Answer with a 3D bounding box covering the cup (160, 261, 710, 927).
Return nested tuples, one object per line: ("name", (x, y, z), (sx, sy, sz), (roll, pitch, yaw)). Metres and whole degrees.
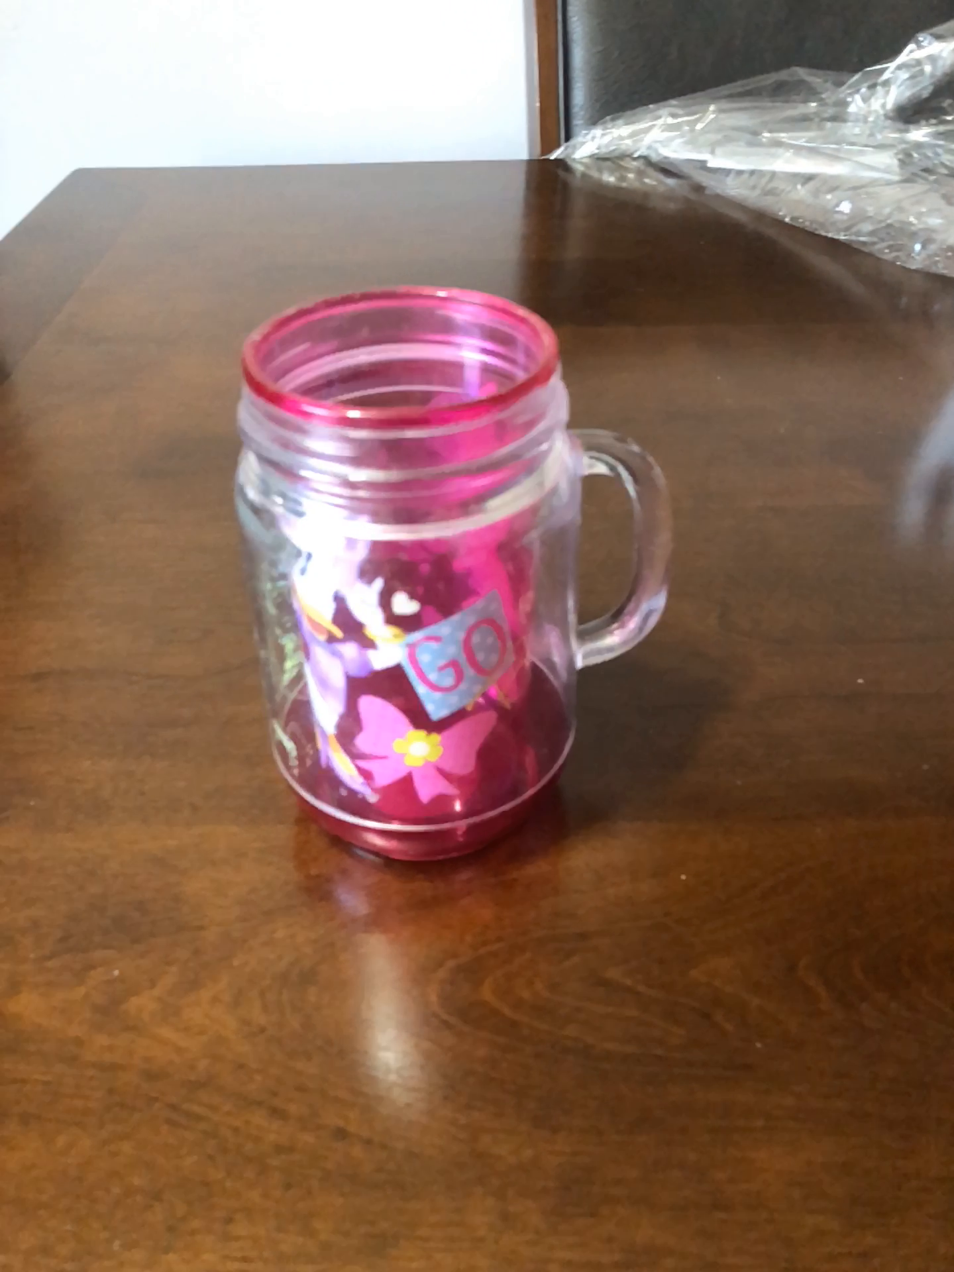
("cup", (-0.013, -0.012, 0.316), (0.120, 0.159, 0.080), (-15, 40, -16))
